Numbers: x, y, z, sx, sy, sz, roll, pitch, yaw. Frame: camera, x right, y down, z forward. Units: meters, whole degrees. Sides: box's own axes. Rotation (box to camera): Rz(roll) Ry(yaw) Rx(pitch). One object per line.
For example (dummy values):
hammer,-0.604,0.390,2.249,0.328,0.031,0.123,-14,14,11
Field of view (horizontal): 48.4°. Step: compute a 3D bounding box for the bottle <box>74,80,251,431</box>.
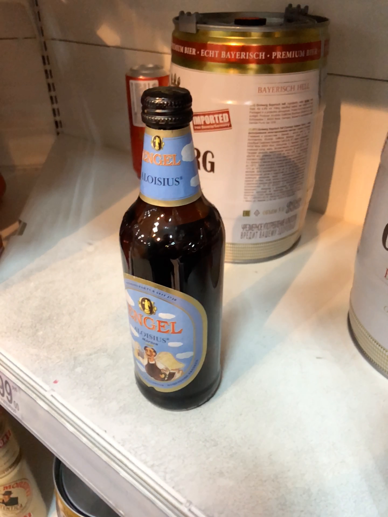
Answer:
bottle,-0.013,0.008,0.285,0.070,0.219,0.060,20,39,29
